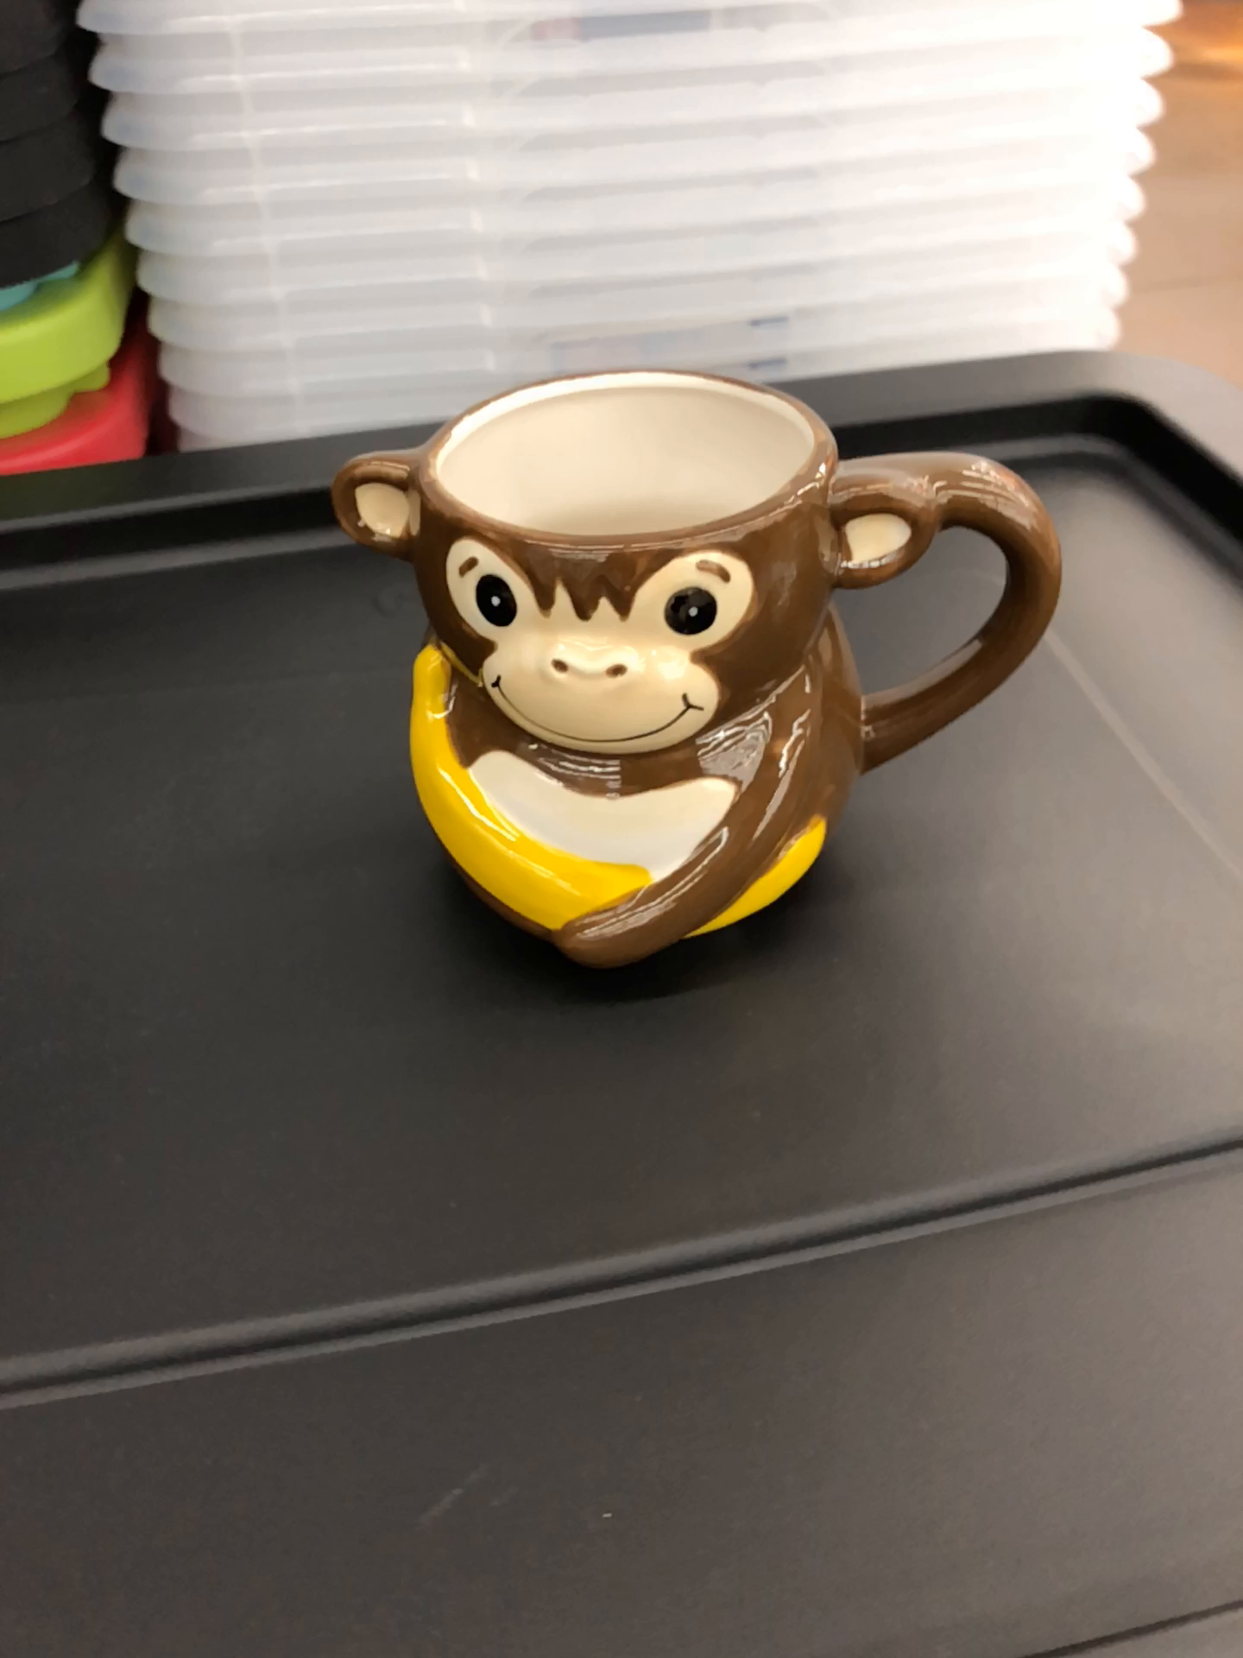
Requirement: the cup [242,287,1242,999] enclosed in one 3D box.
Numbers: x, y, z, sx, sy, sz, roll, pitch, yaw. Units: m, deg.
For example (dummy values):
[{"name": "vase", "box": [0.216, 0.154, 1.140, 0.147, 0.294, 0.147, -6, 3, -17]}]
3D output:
[{"name": "cup", "box": [0.022, -0.041, 0.287, 0.160, 0.100, 0.110, -1, 38, 0]}]
